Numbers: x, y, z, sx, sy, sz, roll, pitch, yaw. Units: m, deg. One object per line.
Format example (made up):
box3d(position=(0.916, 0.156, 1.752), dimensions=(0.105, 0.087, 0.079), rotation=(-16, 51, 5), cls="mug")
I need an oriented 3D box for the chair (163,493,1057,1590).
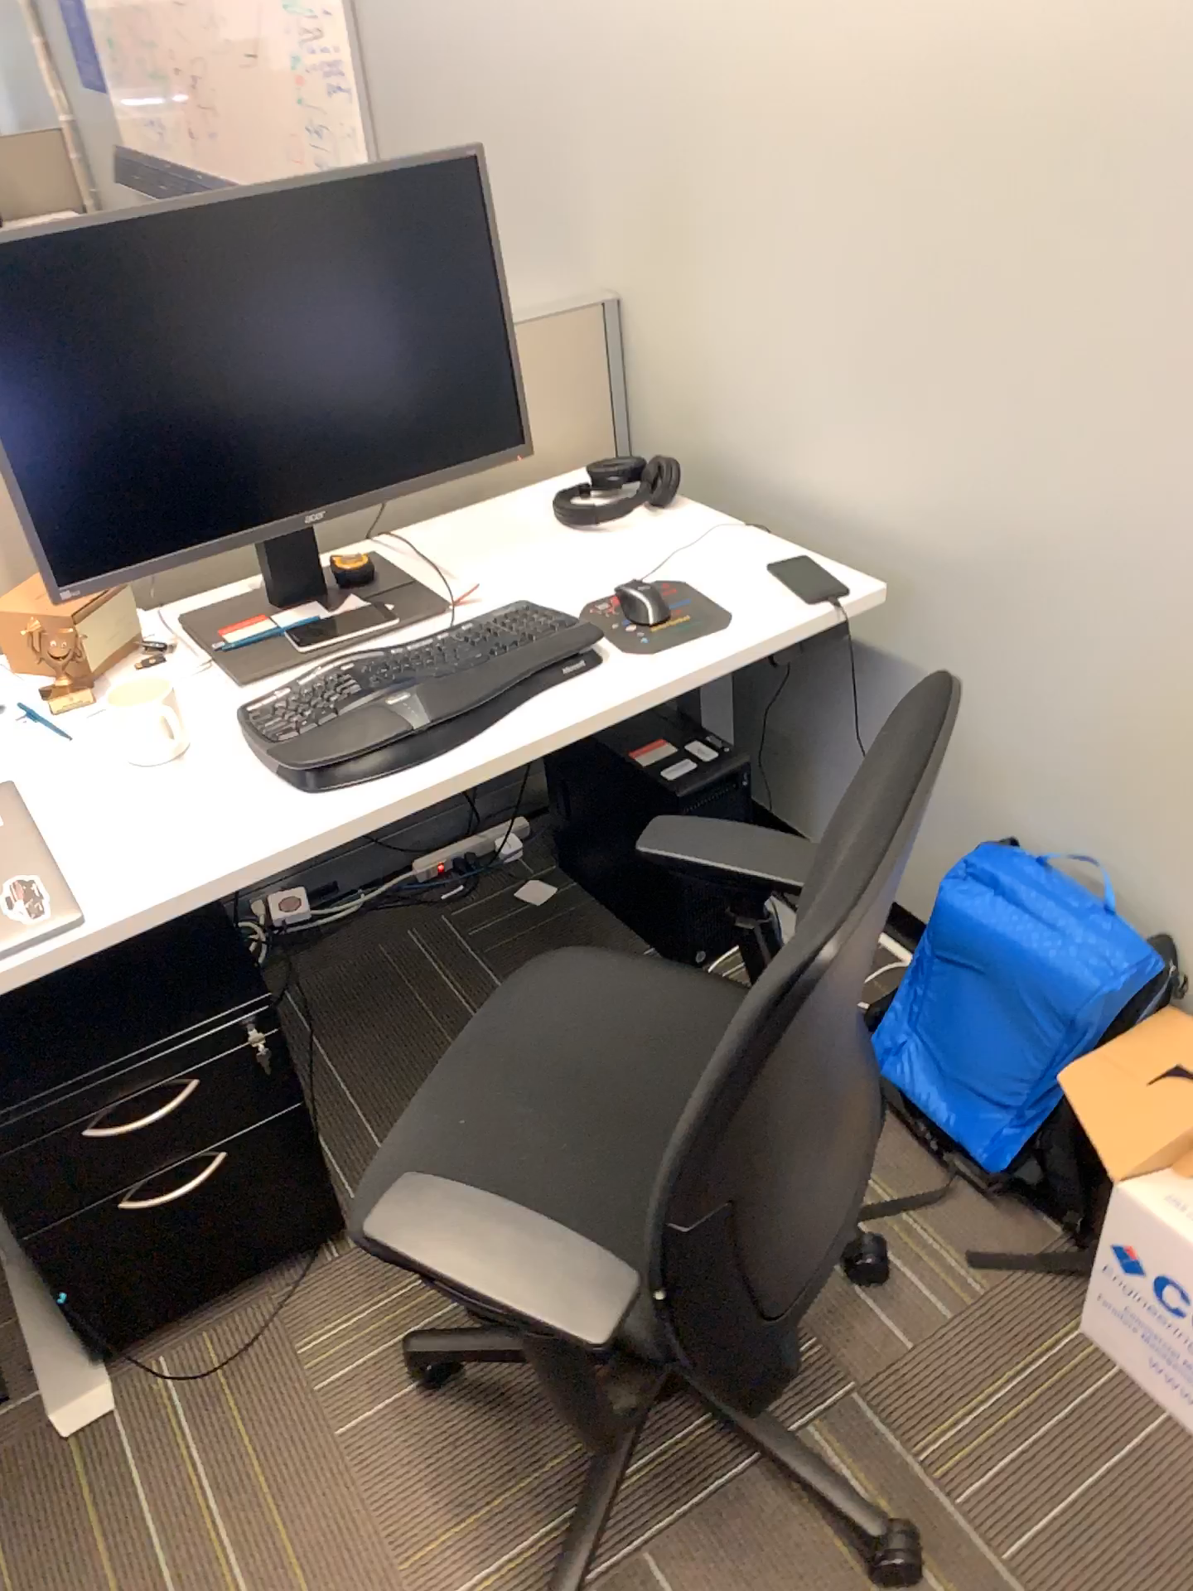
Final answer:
box3d(position=(0.126, 0.271, 1.447), dimensions=(0.611, 0.944, 0.833), rotation=(9, 38, 20), cls="chair")
